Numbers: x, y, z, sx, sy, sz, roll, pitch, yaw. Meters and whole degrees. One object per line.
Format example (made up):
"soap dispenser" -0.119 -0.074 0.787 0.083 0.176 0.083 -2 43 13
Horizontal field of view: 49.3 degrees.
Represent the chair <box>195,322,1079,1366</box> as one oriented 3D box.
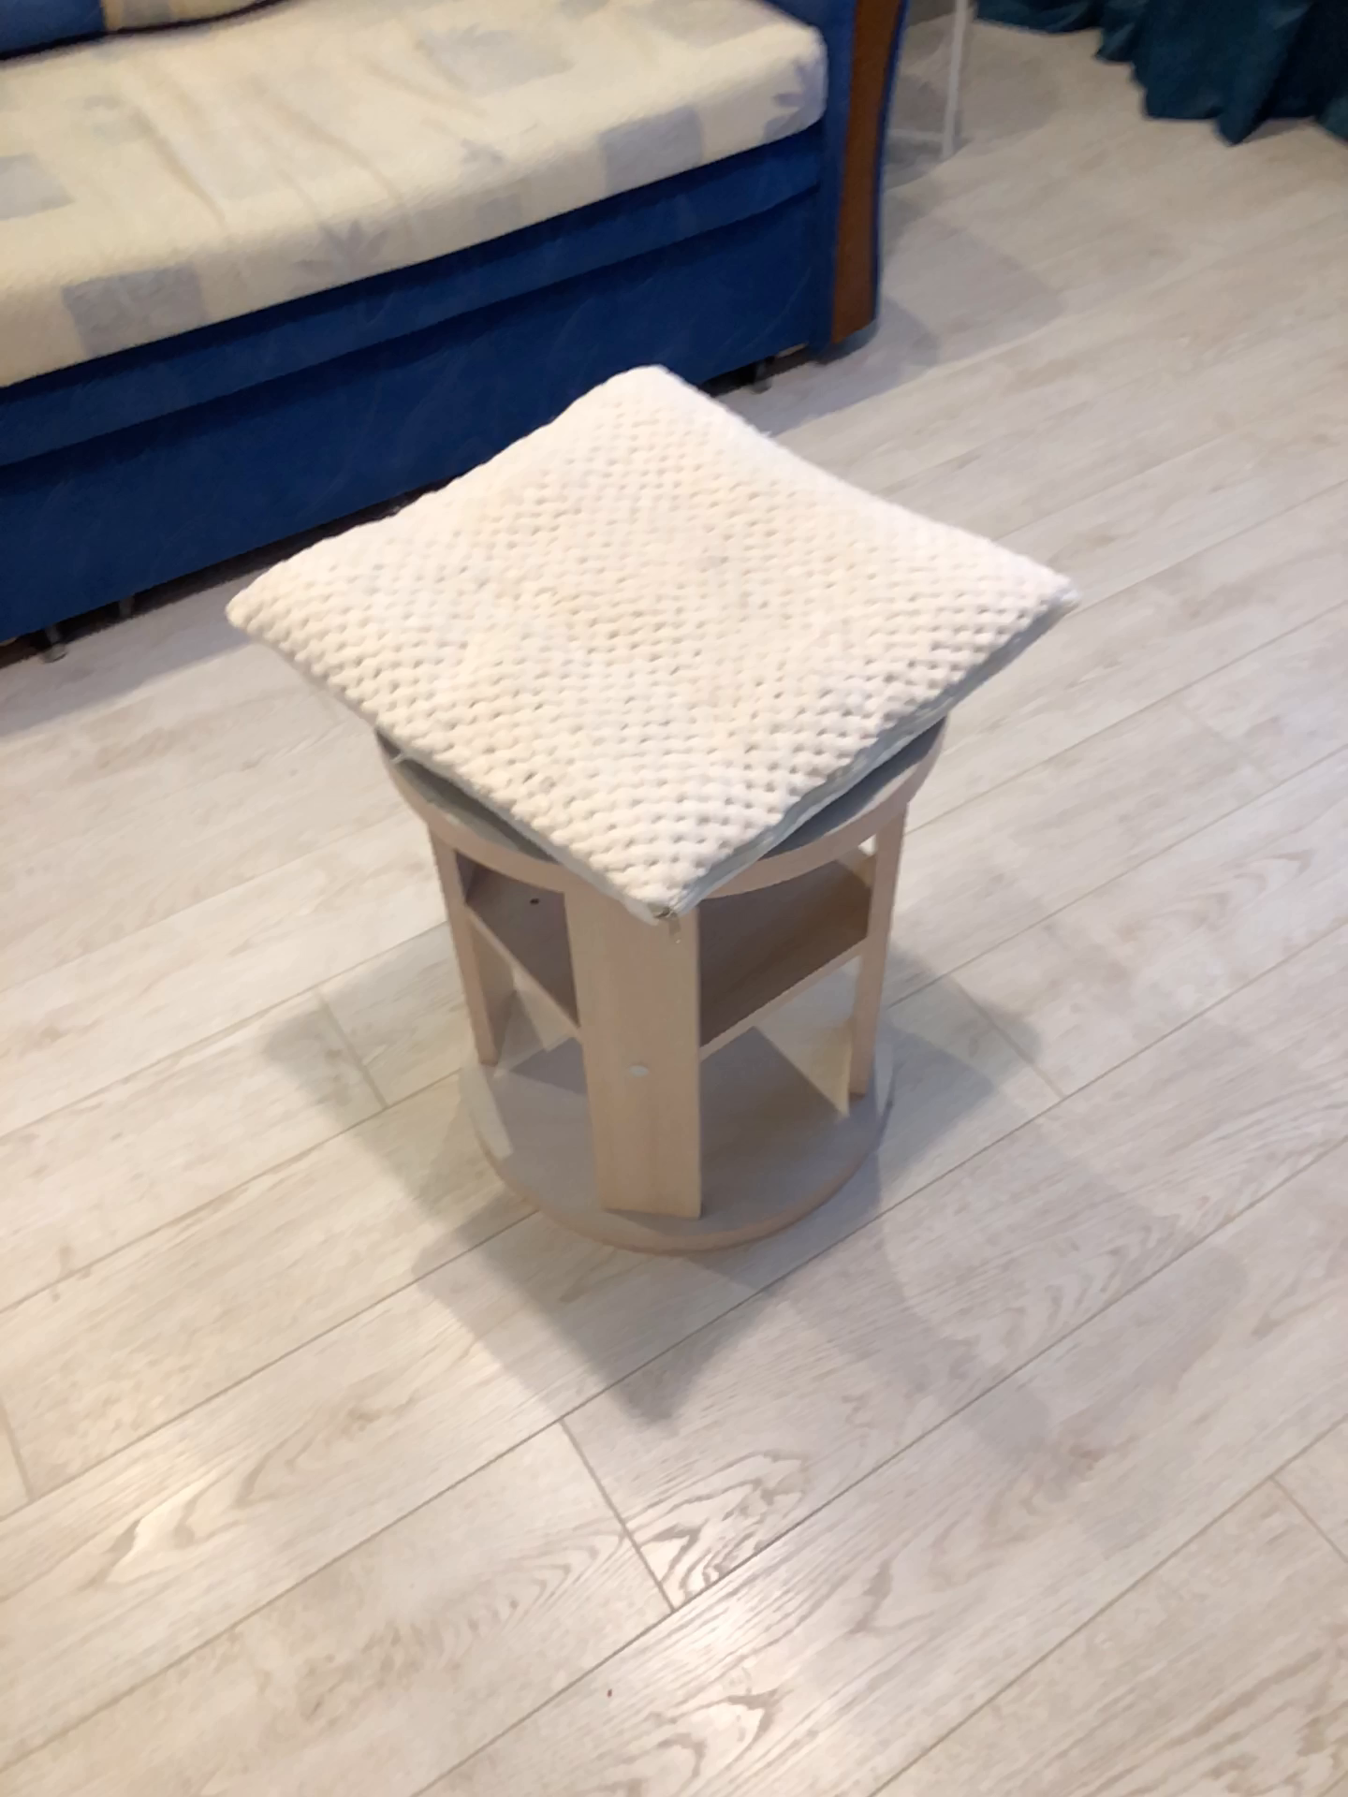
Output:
"chair" -0.030 -0.028 1.084 0.381 0.546 0.402 -25 53 -18
